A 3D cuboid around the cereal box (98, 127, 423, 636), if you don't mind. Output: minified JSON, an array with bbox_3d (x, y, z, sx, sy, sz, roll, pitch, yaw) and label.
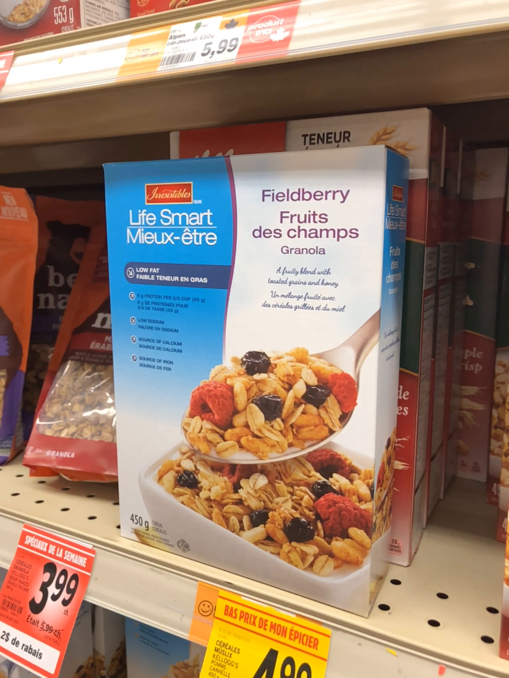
[{"bbox_3d":[-0.002,0.017,0.321,0.170,0.239,0.050,6,11,29],"label":"cereal box"}]
